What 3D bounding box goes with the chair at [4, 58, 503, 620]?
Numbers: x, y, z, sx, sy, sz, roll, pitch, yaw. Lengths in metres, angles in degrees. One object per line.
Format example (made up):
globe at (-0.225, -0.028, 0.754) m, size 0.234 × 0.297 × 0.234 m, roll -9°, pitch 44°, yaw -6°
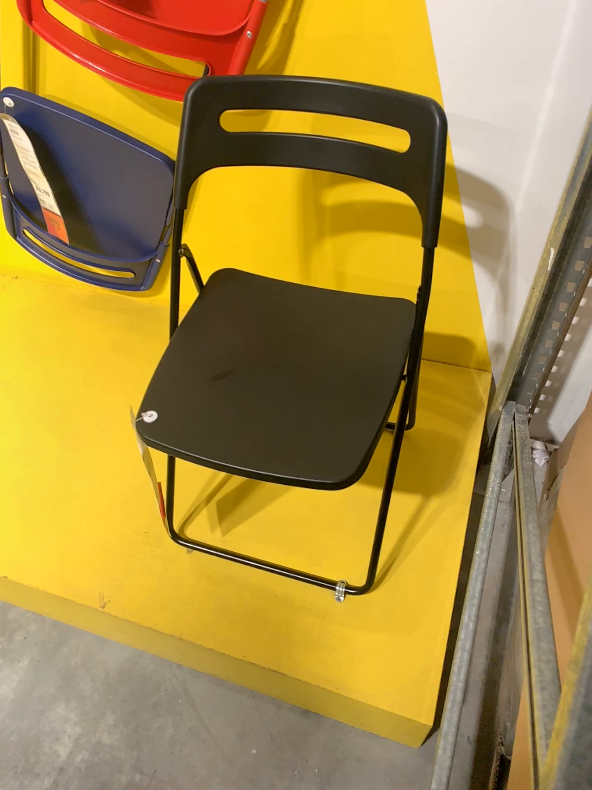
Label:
chair at (-0.002, -0.051, 0.949) m, size 0.440 × 0.698 × 0.441 m, roll 13°, pitch 51°, yaw 13°
